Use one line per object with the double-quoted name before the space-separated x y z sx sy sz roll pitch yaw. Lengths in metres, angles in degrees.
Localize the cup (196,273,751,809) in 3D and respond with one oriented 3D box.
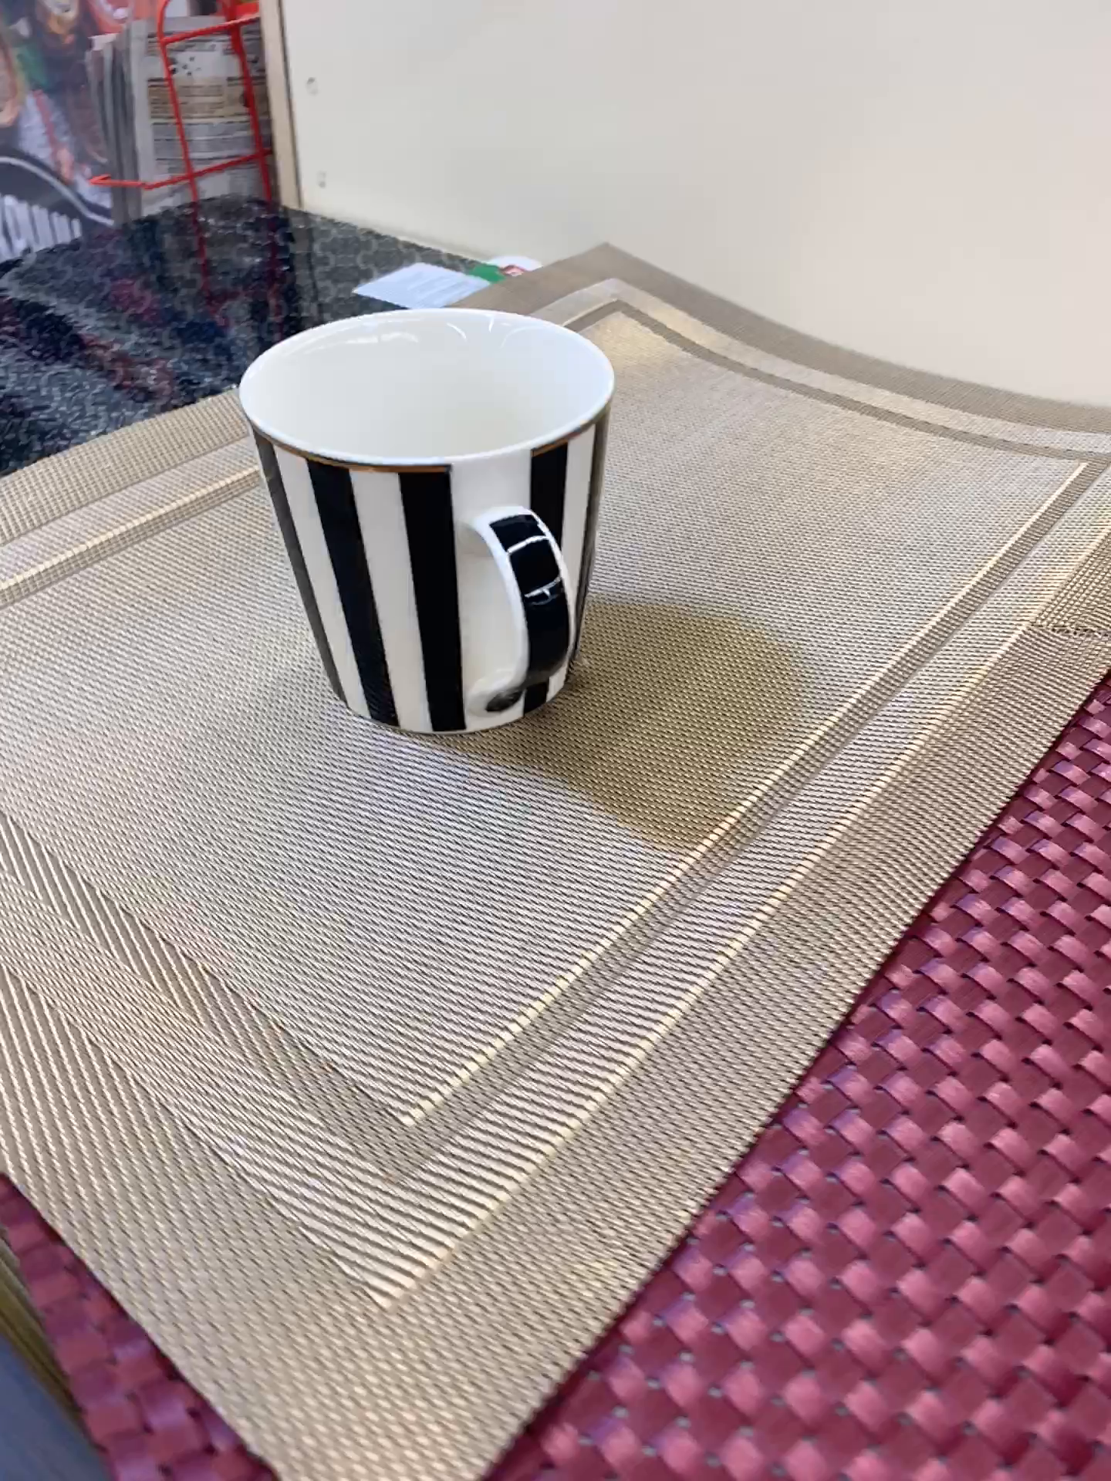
"cup" -0.029 -0.064 0.313 0.100 0.080 0.131 -14 40 -20
